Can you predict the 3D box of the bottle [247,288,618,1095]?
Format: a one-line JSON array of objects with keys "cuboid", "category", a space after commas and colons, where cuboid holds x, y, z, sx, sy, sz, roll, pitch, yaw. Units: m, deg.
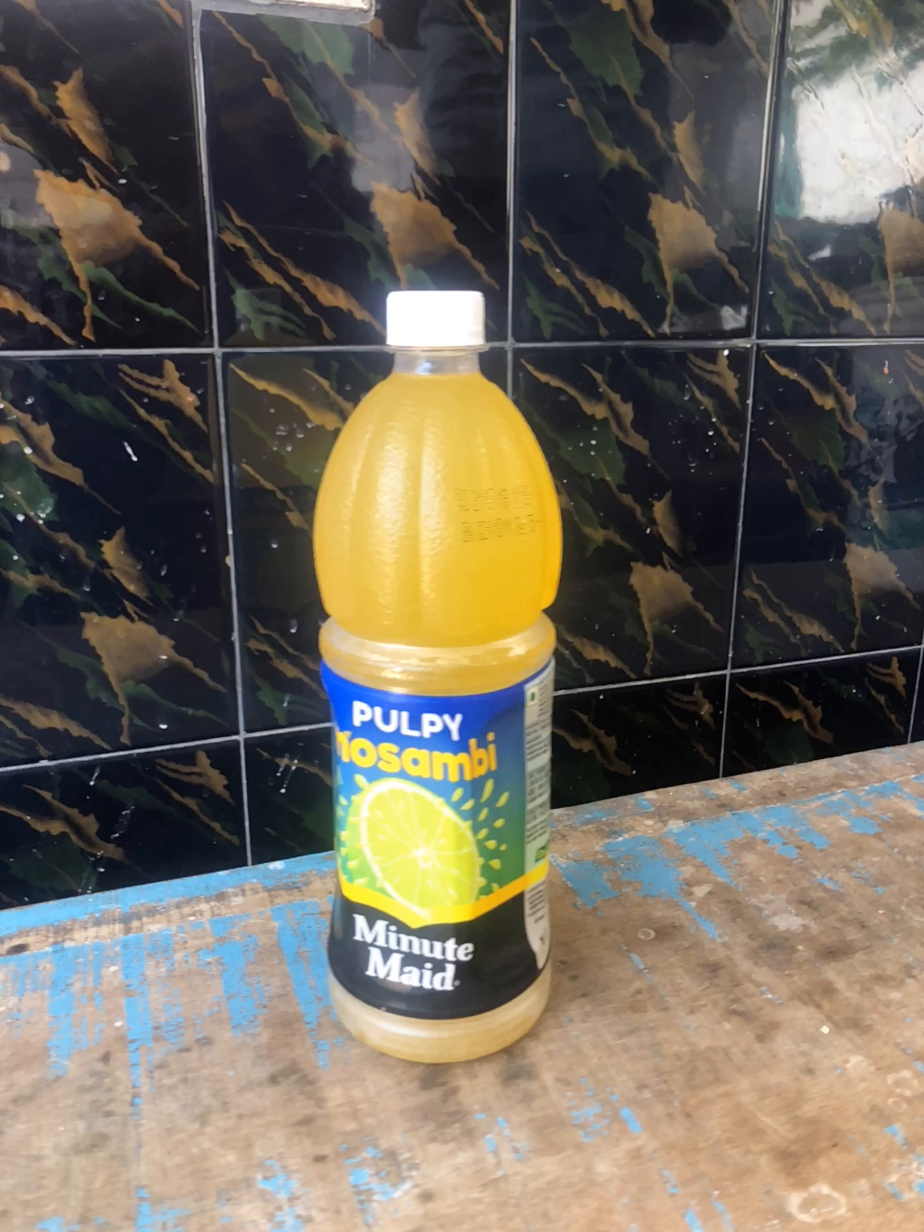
[{"cuboid": [-0.002, 0.018, 0.352, 0.090, 0.249, 0.100, 4, 18, 14], "category": "bottle"}]
